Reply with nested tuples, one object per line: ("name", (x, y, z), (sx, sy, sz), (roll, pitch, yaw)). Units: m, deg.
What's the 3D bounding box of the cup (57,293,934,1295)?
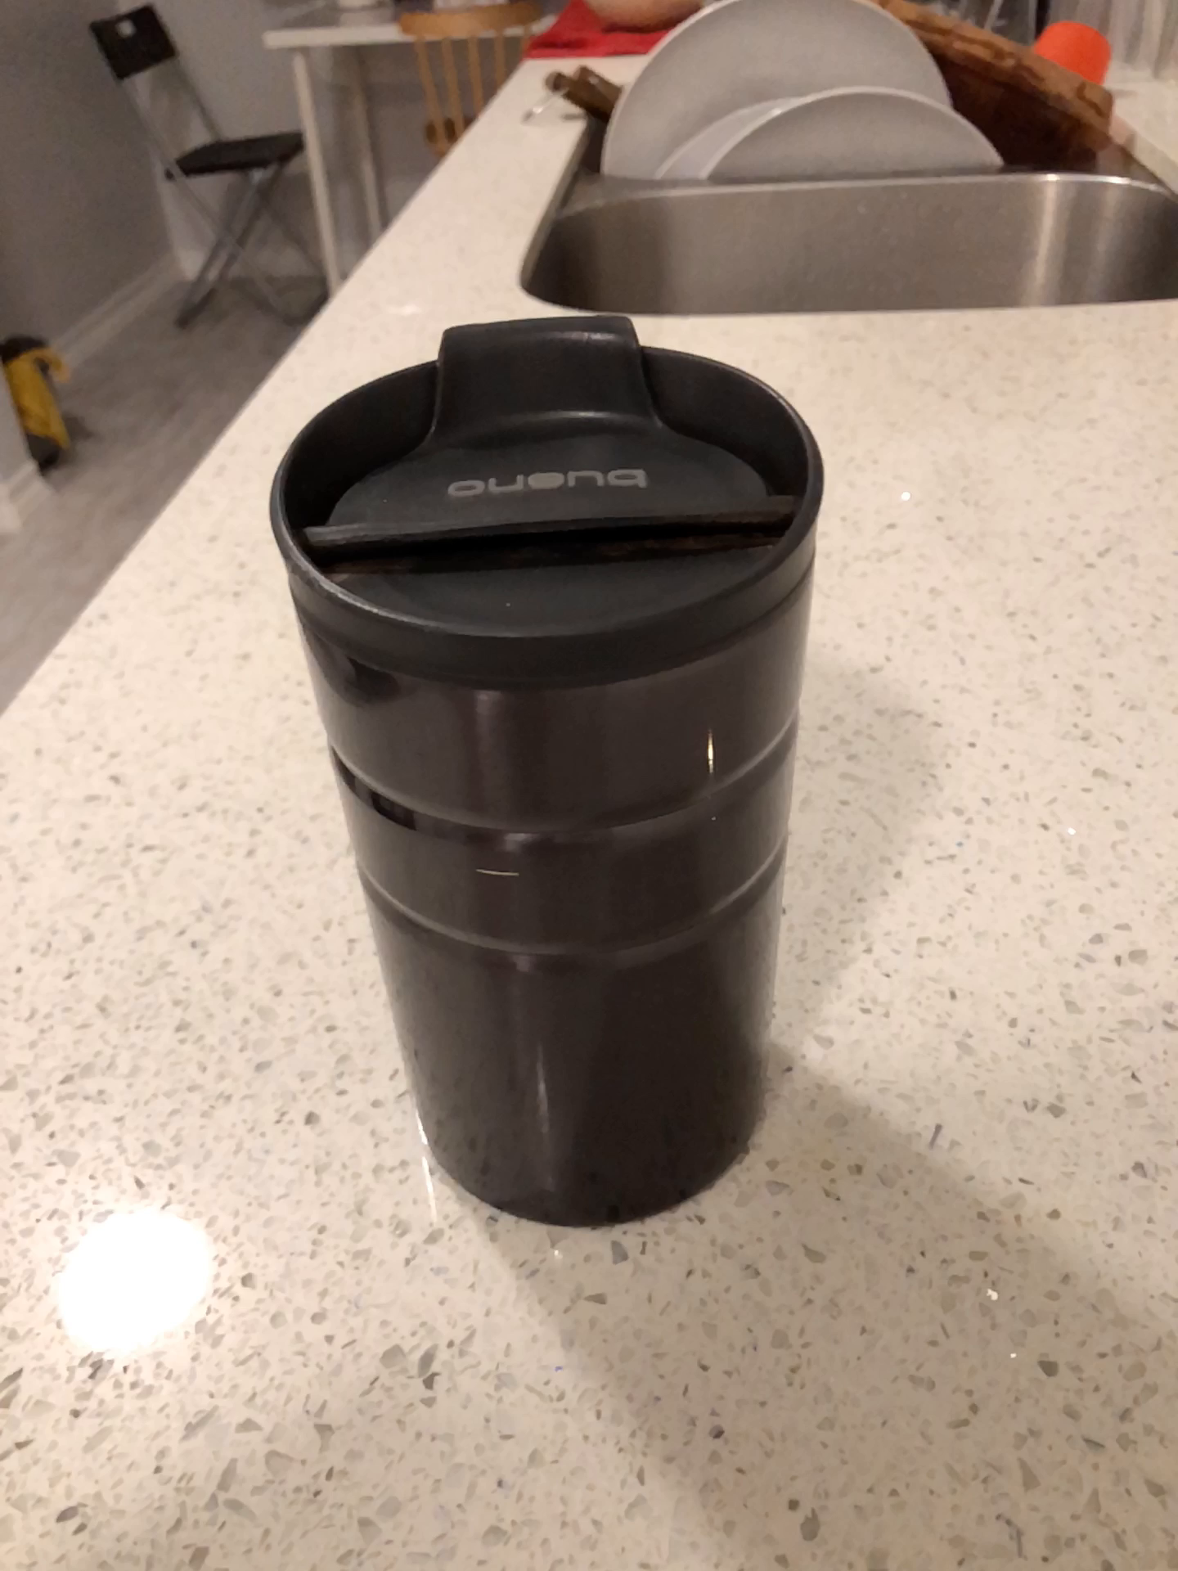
("cup", (-0.006, -0.004, 0.211), (0.087, 0.116, 0.085), (-3, 36, 2))
